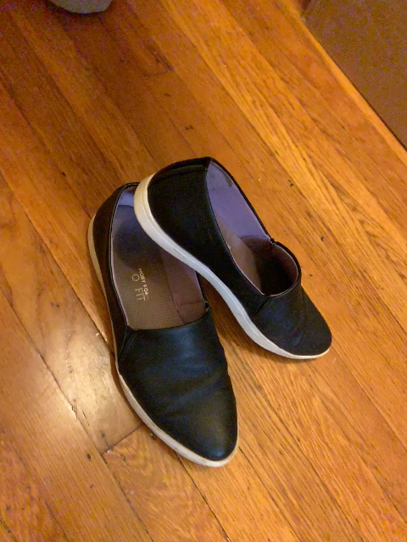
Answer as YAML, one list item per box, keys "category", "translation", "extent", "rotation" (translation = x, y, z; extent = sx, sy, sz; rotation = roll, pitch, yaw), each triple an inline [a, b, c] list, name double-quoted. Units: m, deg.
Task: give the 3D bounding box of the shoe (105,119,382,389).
- category: "shoe"
  translation: [0.053, 0.004, 0.377]
  extent: [0.250, 0.080, 0.100]
  rotation: [39, 58, -28]

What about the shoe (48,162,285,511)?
- category: "shoe"
  translation: [-0.044, 0.045, 0.365]
  extent: [0.100, 0.080, 0.260]
  rotation: [-17, 75, -26]
